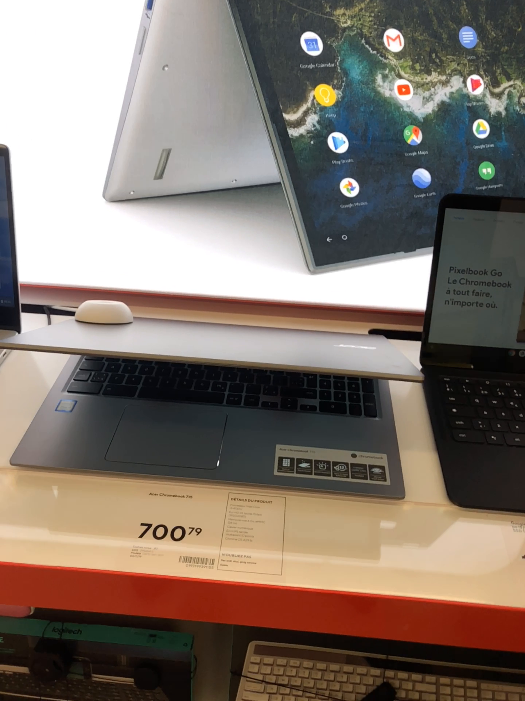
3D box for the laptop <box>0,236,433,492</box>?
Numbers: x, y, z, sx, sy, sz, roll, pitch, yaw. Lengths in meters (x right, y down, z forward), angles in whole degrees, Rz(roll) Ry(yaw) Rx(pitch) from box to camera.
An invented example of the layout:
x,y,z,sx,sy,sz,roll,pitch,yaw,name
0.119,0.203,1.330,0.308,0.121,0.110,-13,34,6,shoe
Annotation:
x,y,z,sx,sy,sz,roll,pitch,yaw,name
-0.038,-0.001,0.596,0.368,0.109,0.245,4,36,1,laptop
